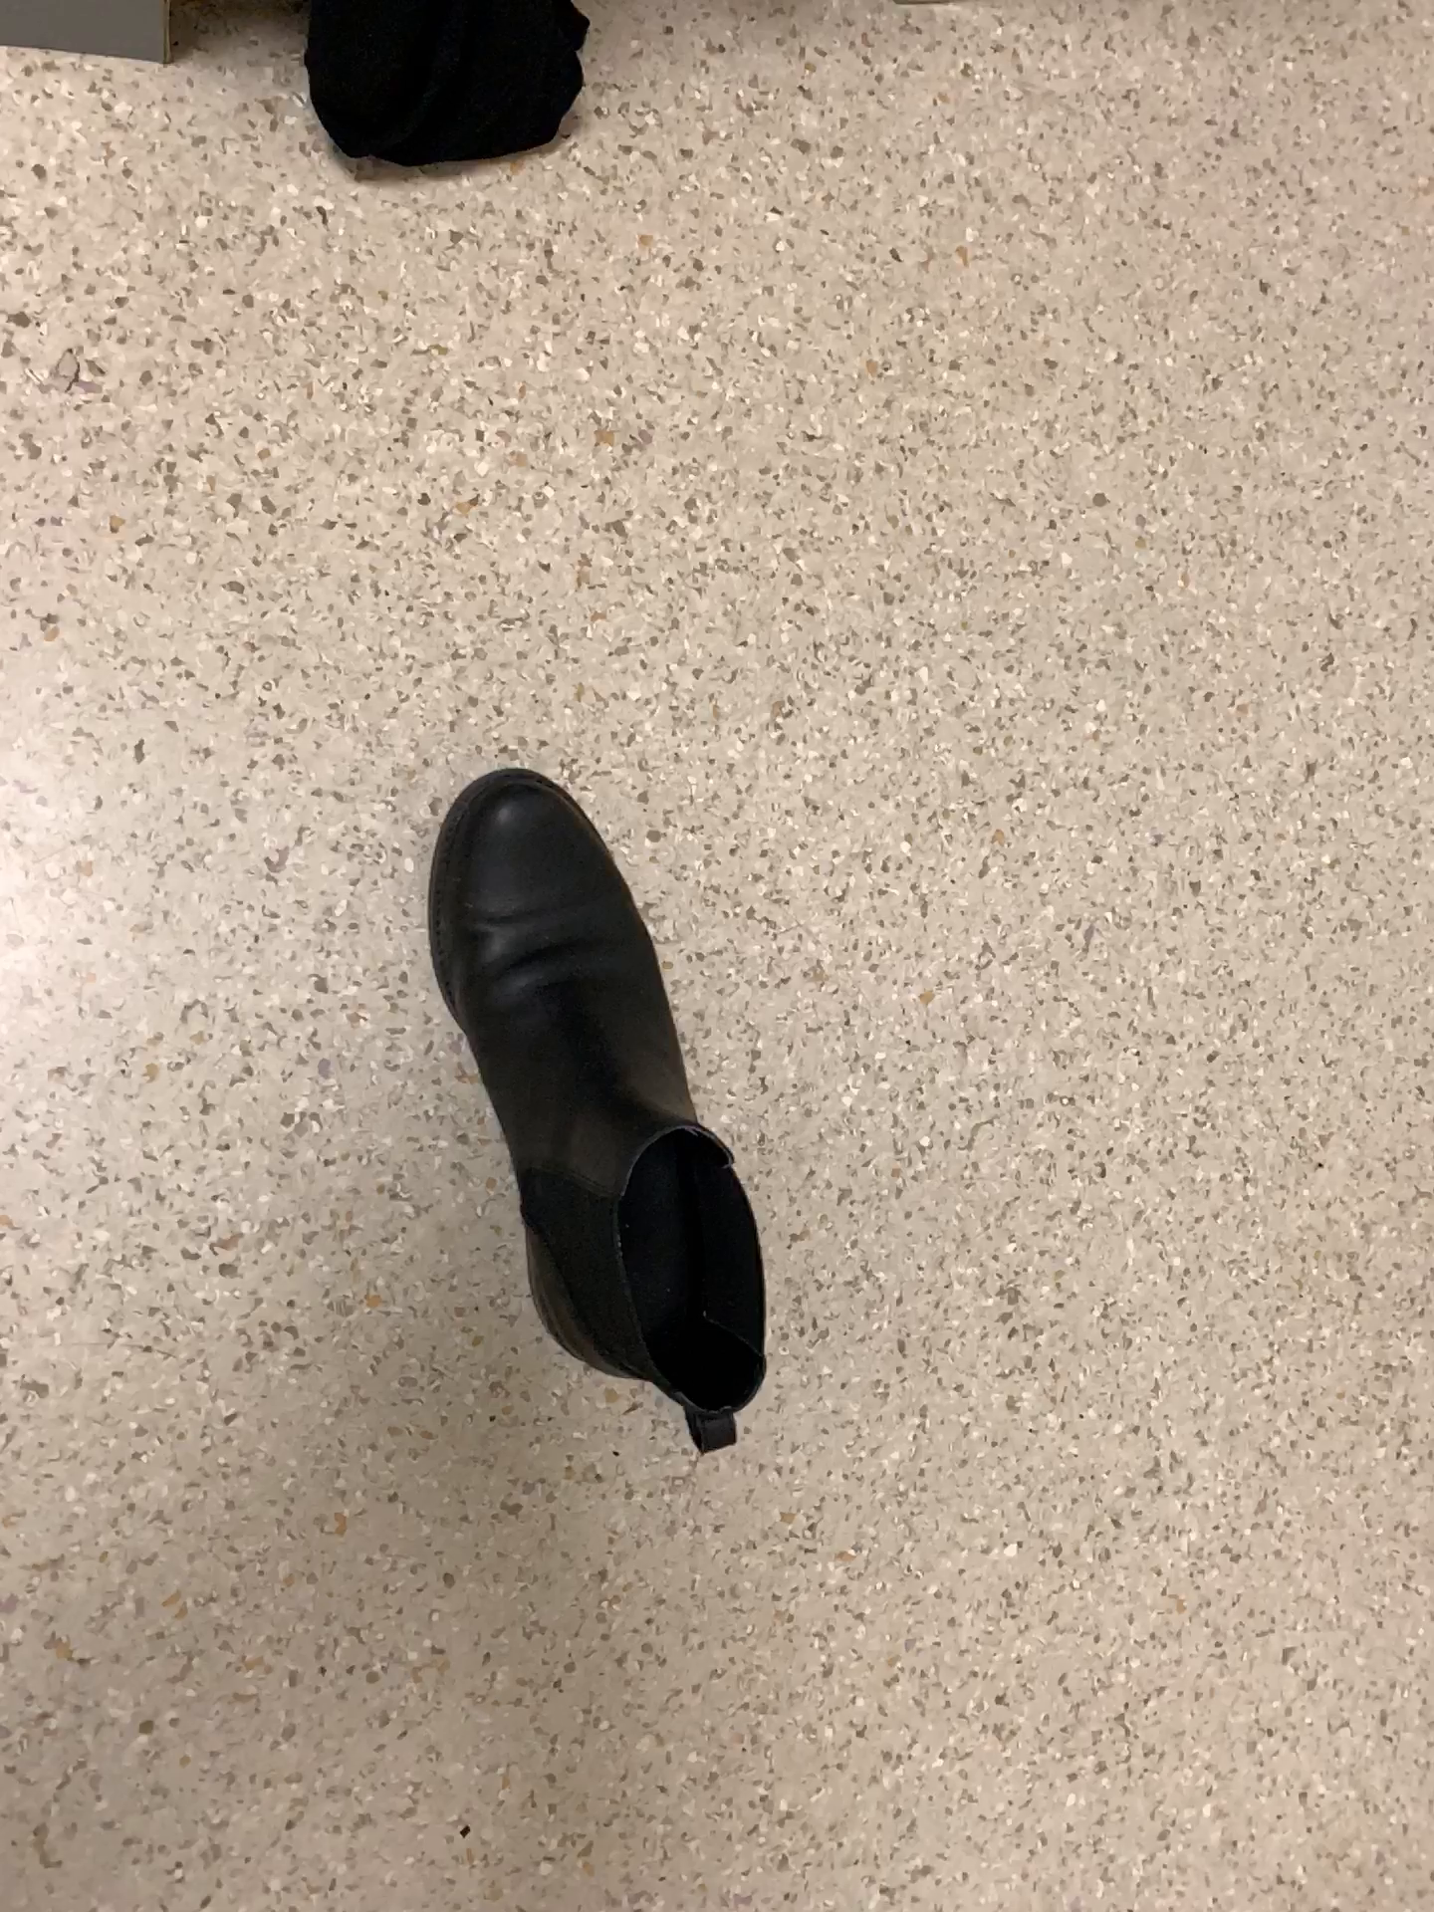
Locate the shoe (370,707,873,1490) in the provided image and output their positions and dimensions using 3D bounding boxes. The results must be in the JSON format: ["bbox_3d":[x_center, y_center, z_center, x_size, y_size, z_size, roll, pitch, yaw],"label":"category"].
[{"bbox_3d":[-0.048,0.053,0.610,0.108,0.147,0.270,-16,93,-21],"label":"shoe"}]
